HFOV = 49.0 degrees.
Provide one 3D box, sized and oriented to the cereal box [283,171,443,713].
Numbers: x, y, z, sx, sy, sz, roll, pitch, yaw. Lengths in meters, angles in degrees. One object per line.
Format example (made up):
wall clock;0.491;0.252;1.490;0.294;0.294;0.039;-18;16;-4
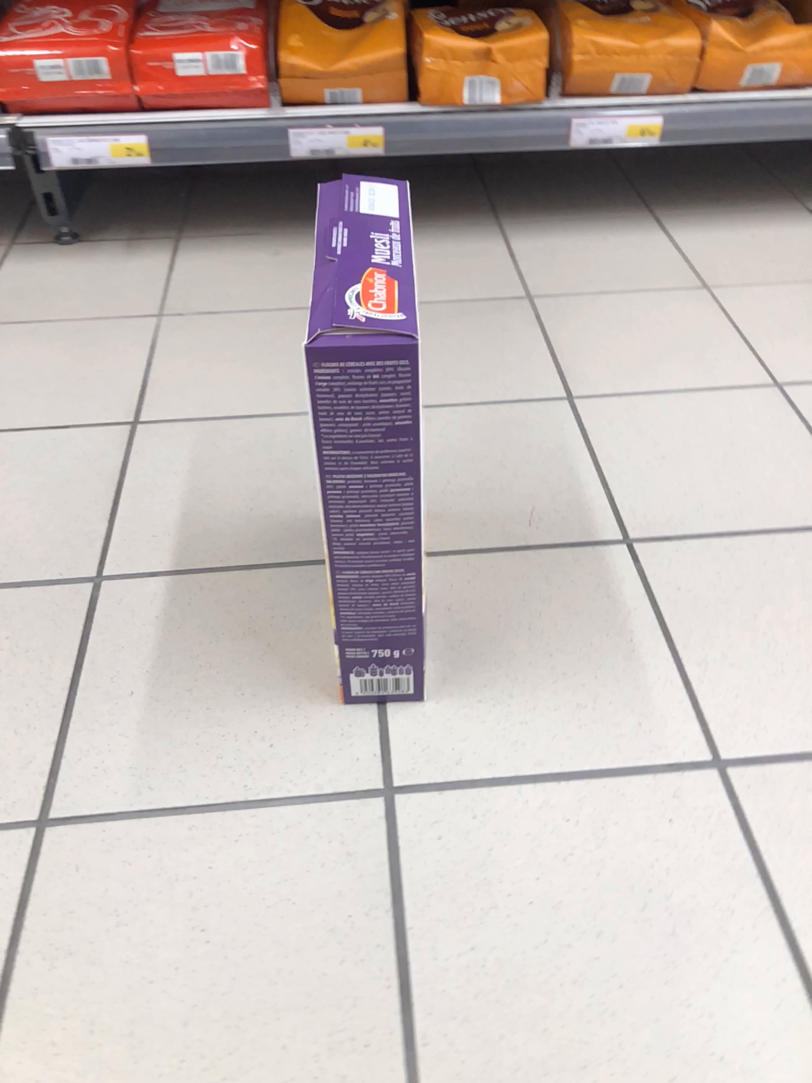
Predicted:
cereal box;-0.021;-0.060;0.553;0.070;0.258;0.211;-2;42;-1
